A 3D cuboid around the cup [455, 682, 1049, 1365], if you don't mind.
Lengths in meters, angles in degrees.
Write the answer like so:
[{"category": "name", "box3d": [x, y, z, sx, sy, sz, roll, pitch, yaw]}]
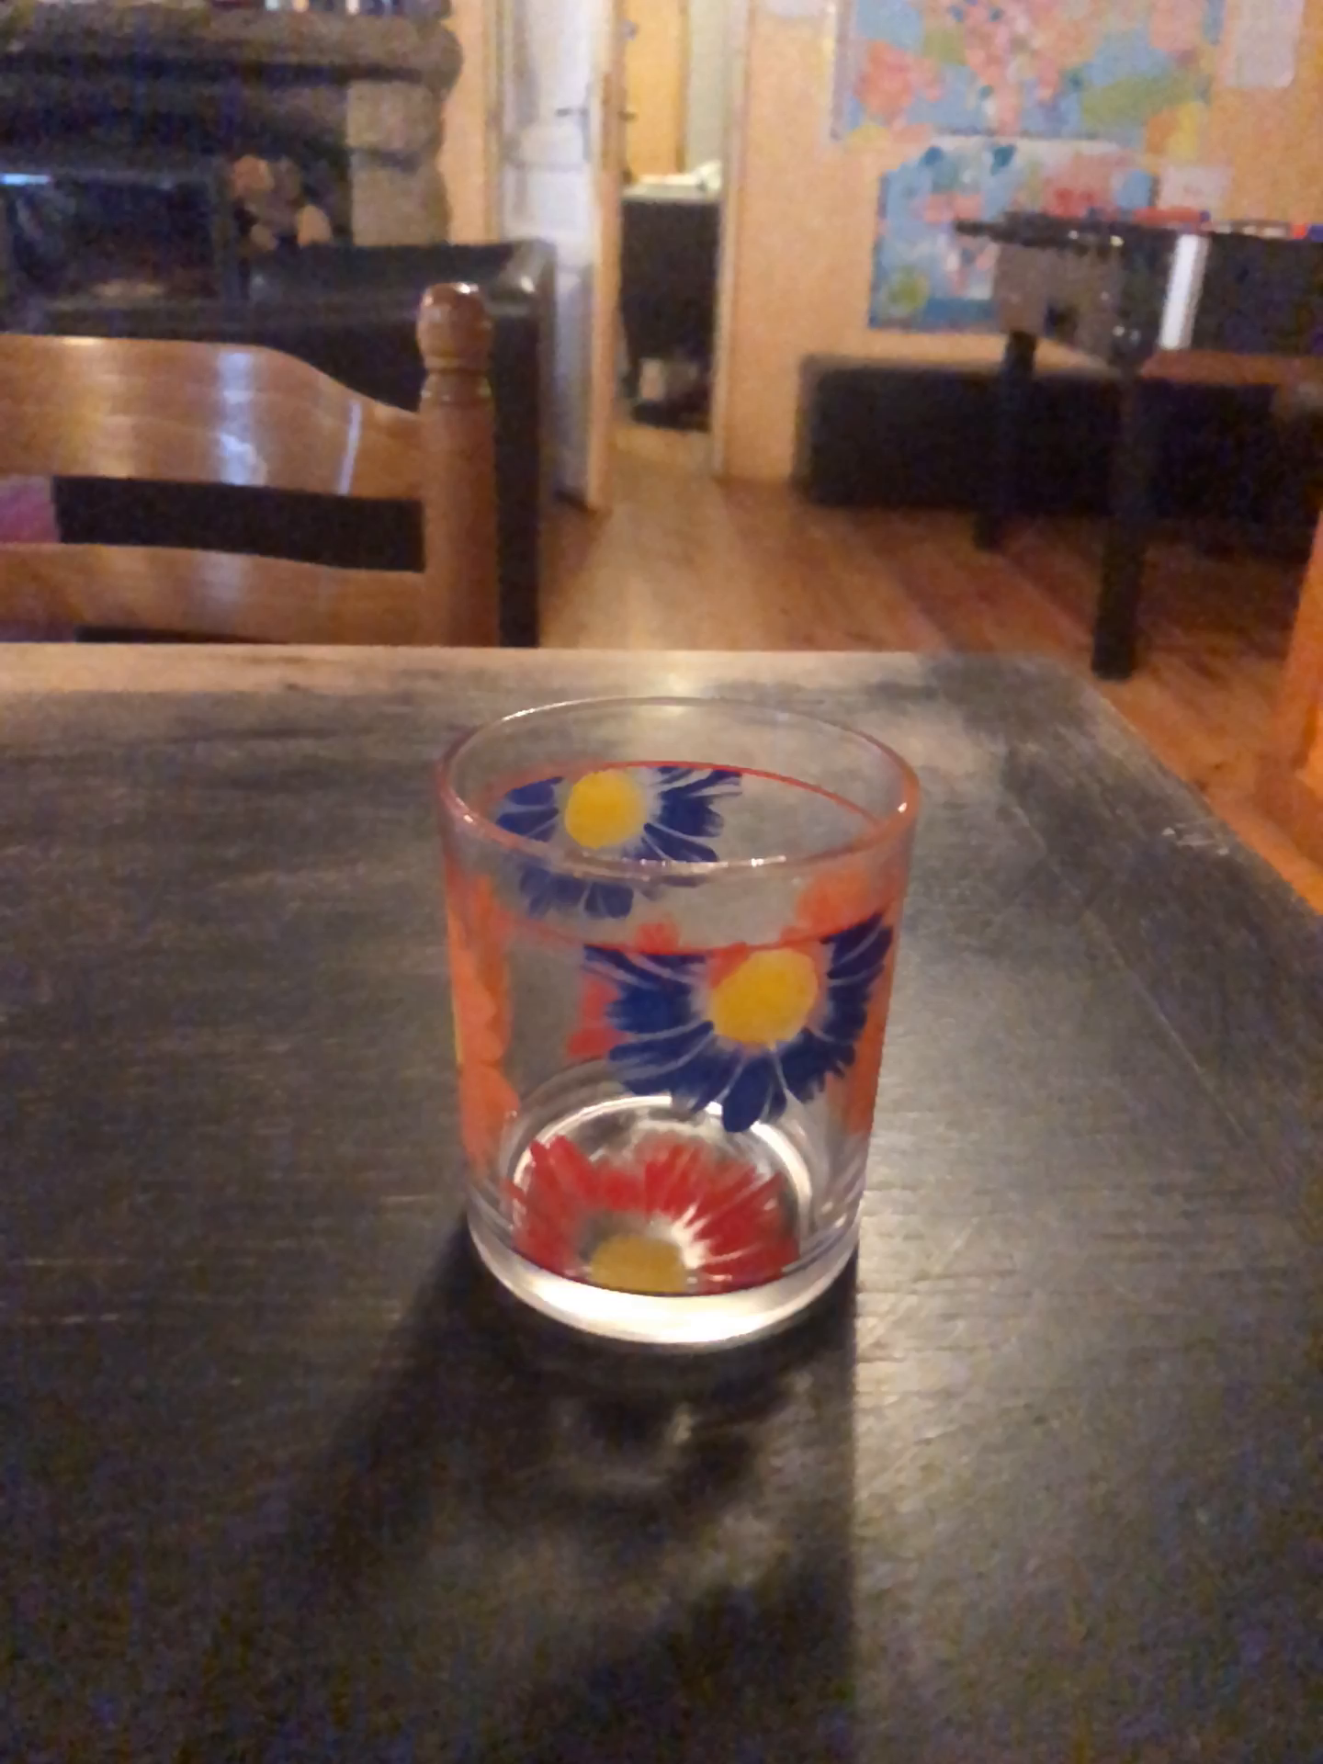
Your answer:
[{"category": "cup", "box3d": [0.008, 0.018, 0.236, 0.076, 0.079, 0.078, 2, 25, -1]}]
